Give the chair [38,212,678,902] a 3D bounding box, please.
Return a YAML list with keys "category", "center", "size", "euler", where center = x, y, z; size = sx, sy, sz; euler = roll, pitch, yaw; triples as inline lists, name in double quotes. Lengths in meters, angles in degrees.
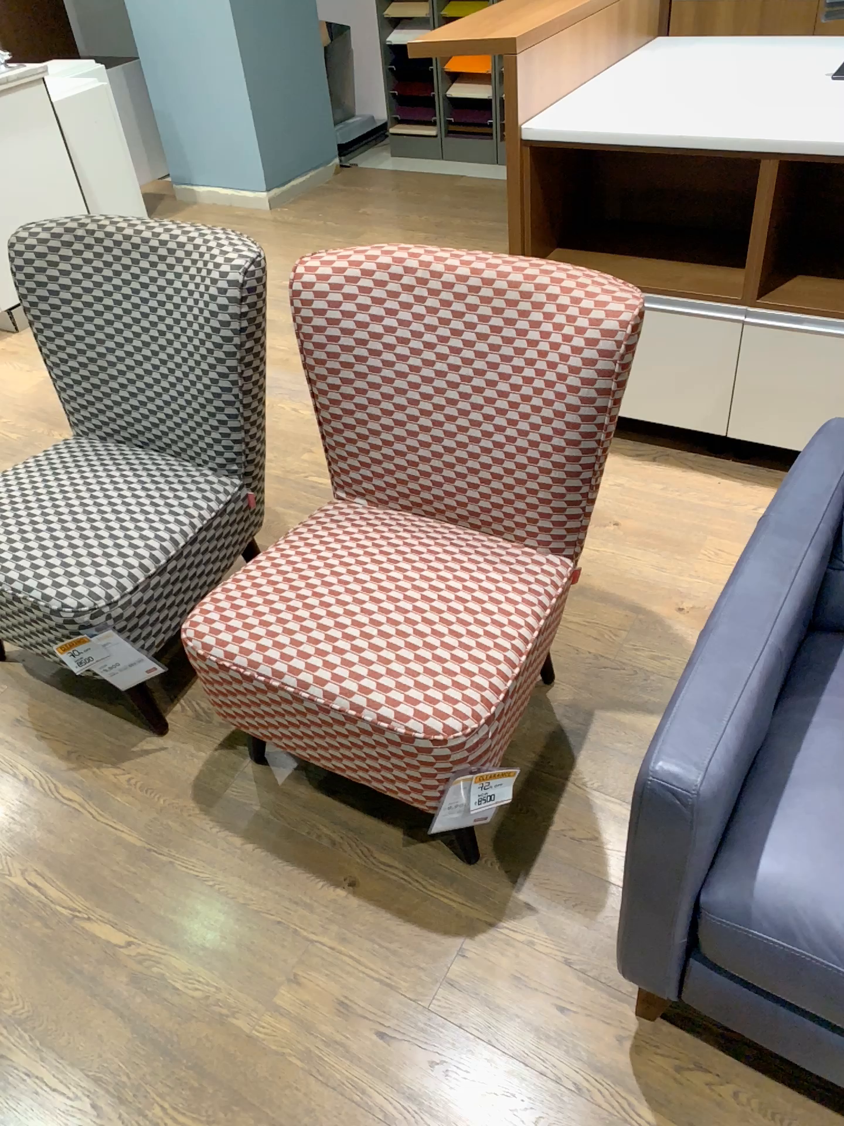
- category: "chair"
  center: [-0.034, -0.039, 1.499]
  size: [0.701, 0.866, 0.611]
  euler: [16, 45, 25]
